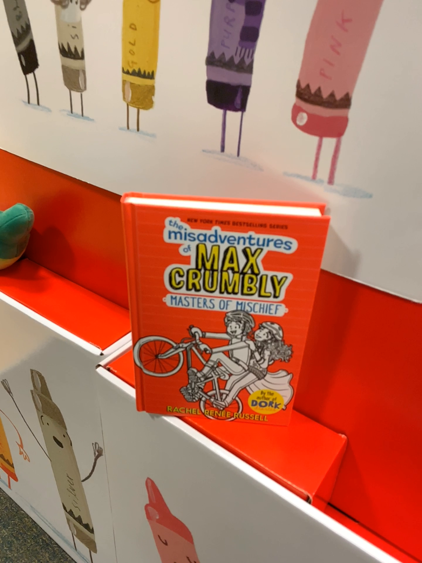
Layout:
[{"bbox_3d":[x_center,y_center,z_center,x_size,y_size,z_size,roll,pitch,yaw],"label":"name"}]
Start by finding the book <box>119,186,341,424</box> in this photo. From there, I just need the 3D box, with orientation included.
[{"bbox_3d":[0.007,0.031,0.342,0.142,0.201,0.031,4,33,-1],"label":"book"}]
